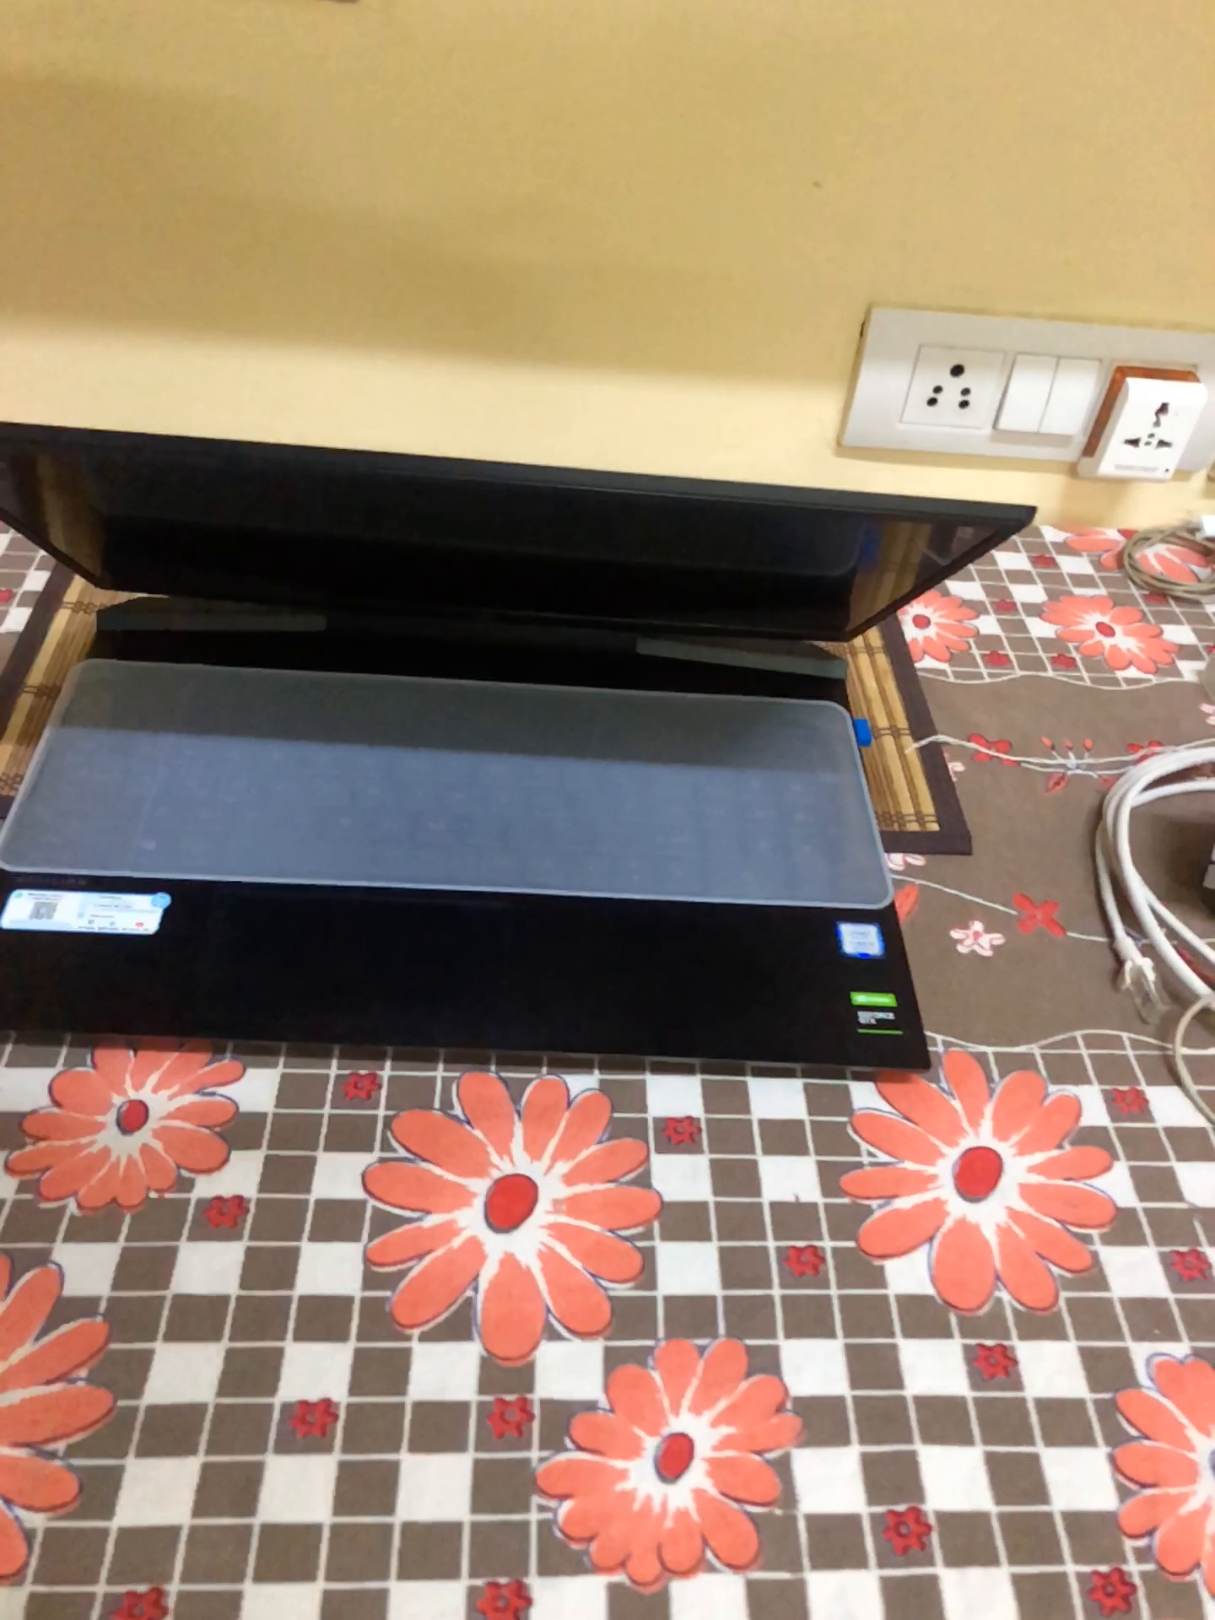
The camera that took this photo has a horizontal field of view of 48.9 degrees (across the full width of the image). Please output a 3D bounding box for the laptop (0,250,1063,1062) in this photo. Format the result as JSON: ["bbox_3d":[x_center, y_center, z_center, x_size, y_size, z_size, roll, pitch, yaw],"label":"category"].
[{"bbox_3d":[-0.054,-0.064,0.513,0.356,0.164,0.238,3,47,-3],"label":"laptop"}]
